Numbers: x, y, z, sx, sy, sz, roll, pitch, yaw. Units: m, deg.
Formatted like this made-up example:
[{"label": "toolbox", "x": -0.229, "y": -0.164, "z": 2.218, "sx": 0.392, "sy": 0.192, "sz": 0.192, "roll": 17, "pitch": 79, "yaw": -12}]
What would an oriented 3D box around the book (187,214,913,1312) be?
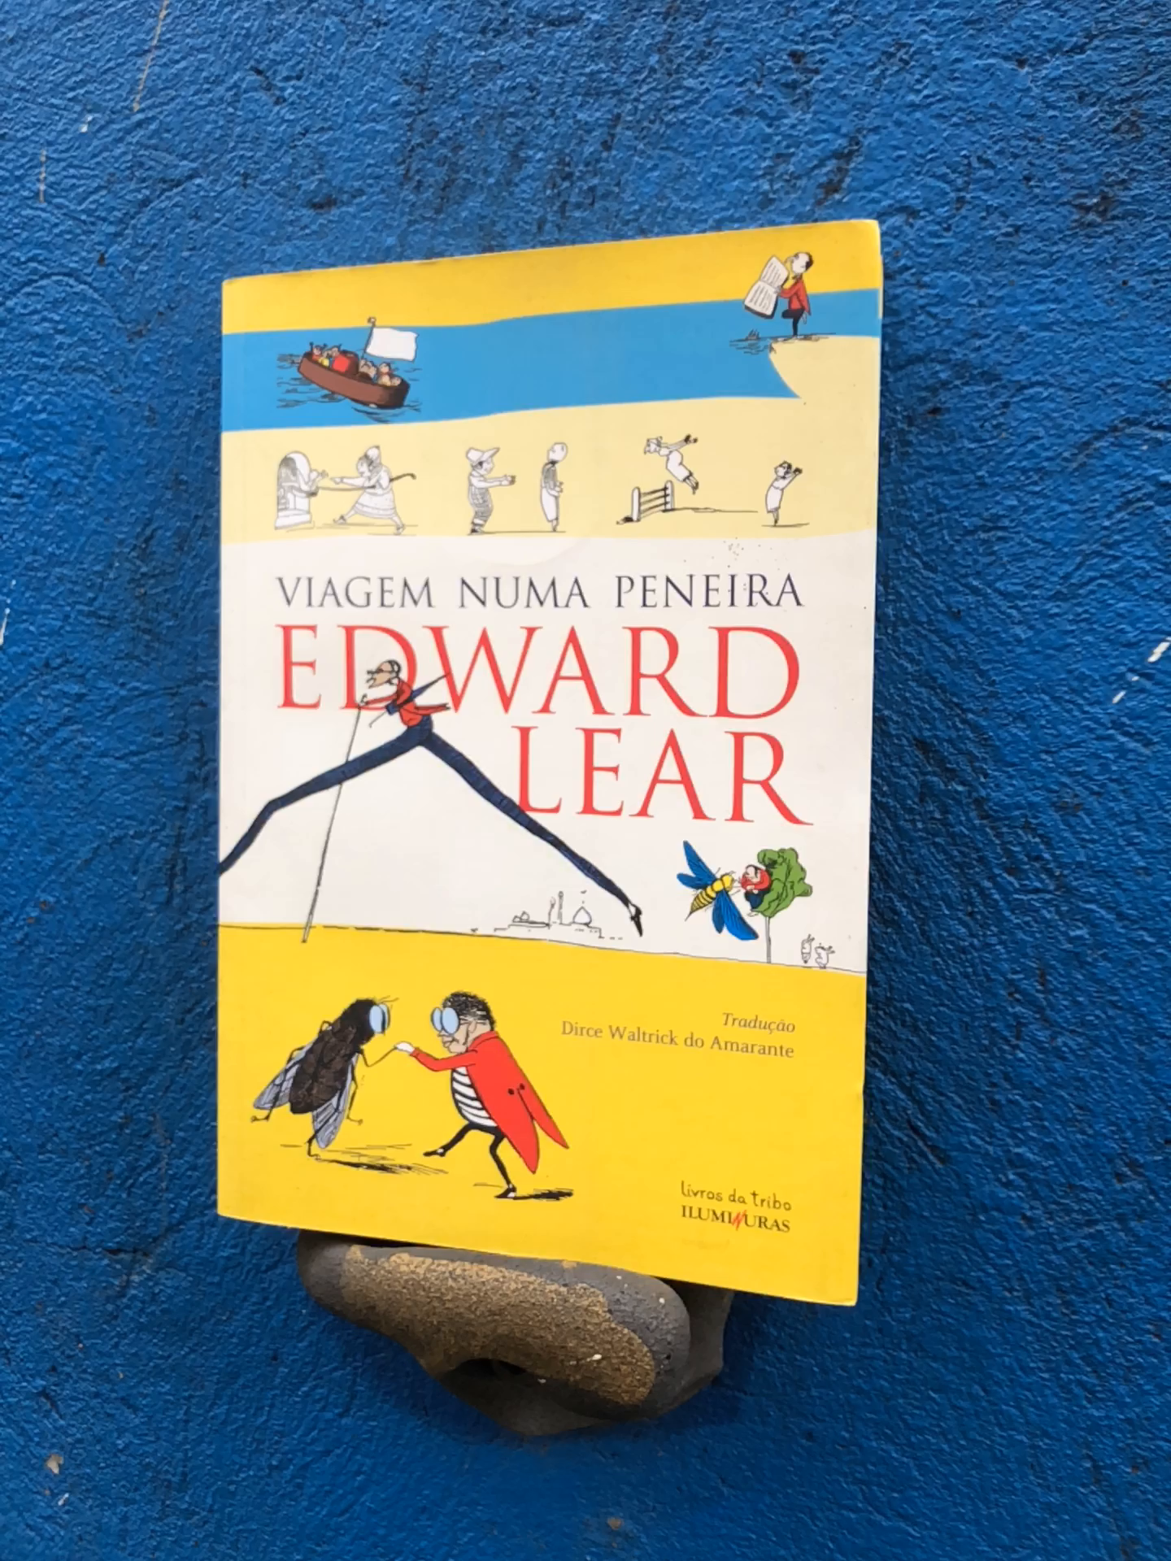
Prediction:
[{"label": "book", "x": -0.012, "y": -0.004, "z": 0.291, "sx": 0.158, "sy": 0.220, "sz": 0.021, "roll": 2, "pitch": 4, "yaw": 14}]
